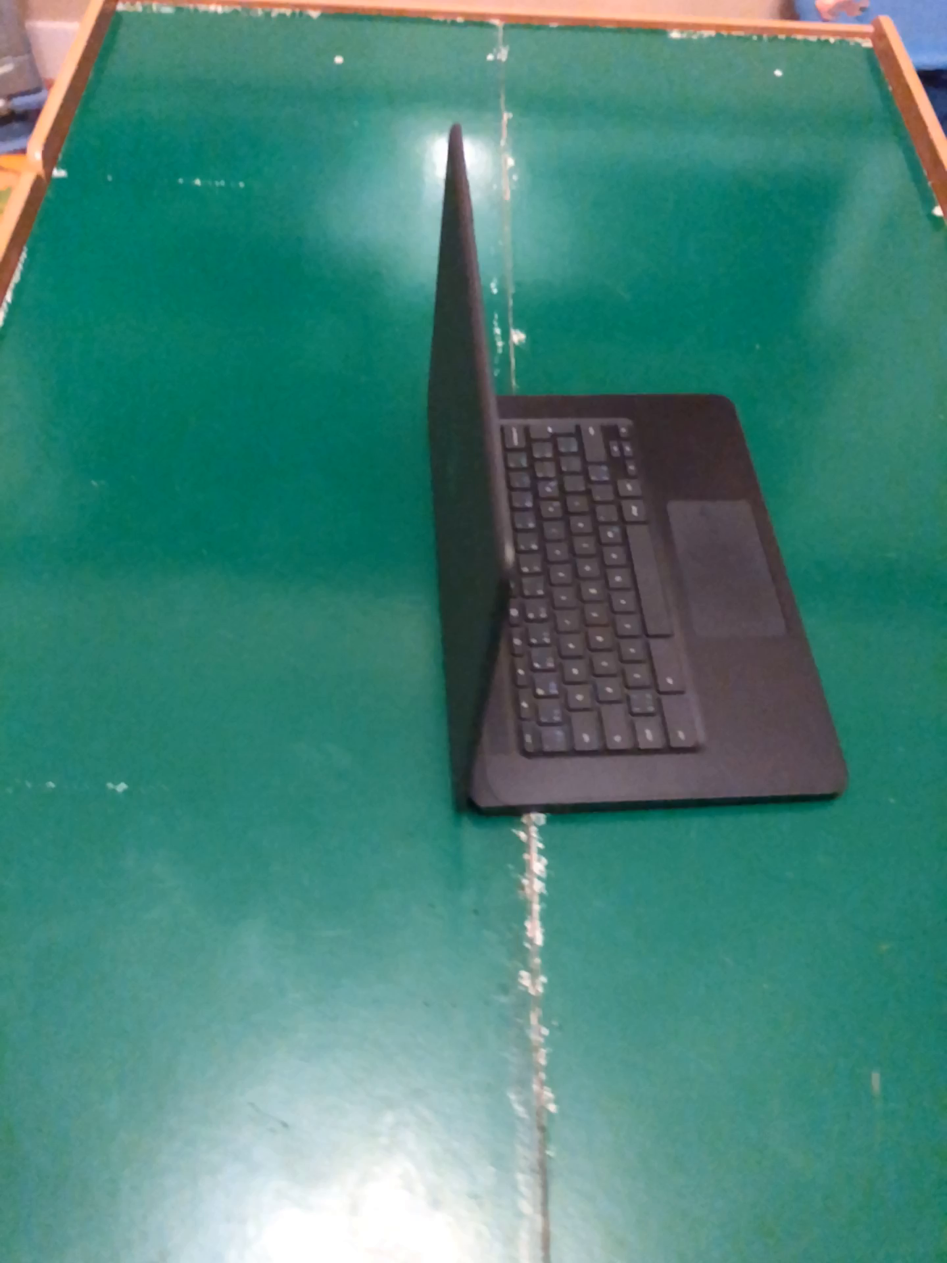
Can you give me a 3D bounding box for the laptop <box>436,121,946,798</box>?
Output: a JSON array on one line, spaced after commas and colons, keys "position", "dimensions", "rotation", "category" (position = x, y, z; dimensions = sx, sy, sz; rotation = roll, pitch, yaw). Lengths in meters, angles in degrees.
[{"position": [0.095, -0.099, 0.592], "dimensions": [0.210, 0.204, 0.318], "rotation": [-2, 56, -5], "category": "laptop"}]
